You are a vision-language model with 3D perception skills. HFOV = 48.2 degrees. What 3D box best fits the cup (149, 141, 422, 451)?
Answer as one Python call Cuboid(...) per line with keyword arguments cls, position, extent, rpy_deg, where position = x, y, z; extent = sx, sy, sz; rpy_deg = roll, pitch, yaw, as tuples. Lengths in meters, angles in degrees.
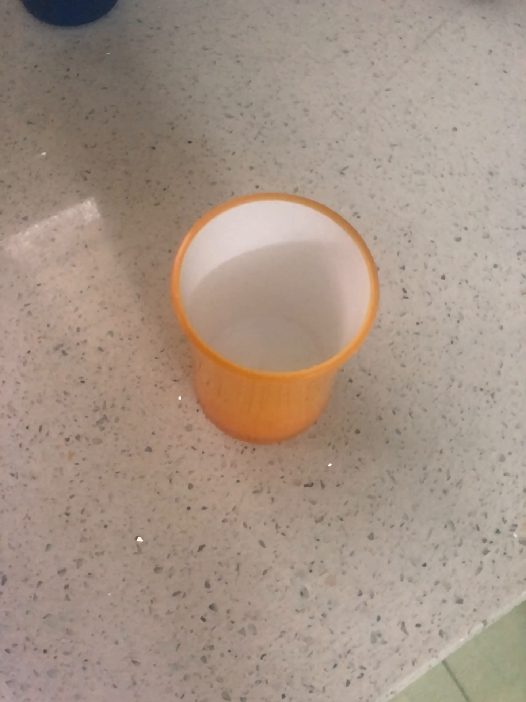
Cuboid(cls="cup", position=(0.003, -0.013, 0.238), extent=(0.080, 0.110, 0.080), rpy_deg=(1, 69, -1))
